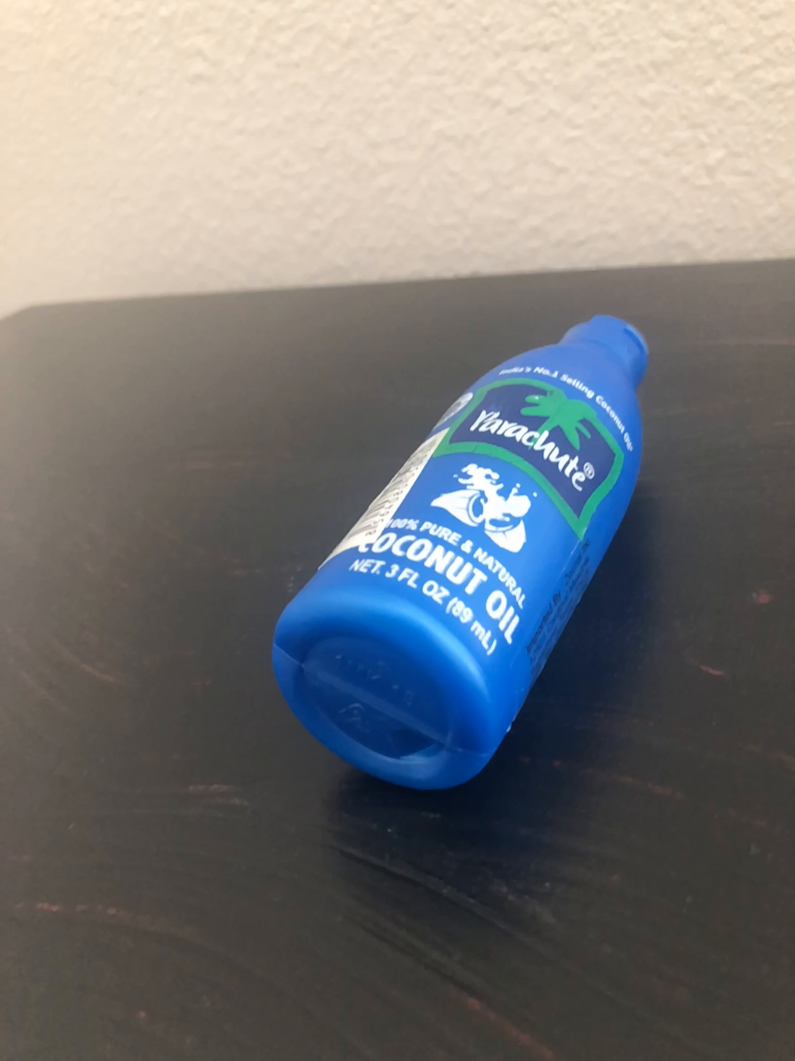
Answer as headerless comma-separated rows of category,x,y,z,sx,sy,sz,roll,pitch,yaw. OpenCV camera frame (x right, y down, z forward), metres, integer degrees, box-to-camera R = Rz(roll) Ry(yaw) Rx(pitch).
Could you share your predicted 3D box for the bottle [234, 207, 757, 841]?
bottle,0.028,-0.015,0.173,0.040,0.040,0.140,29,44,11
